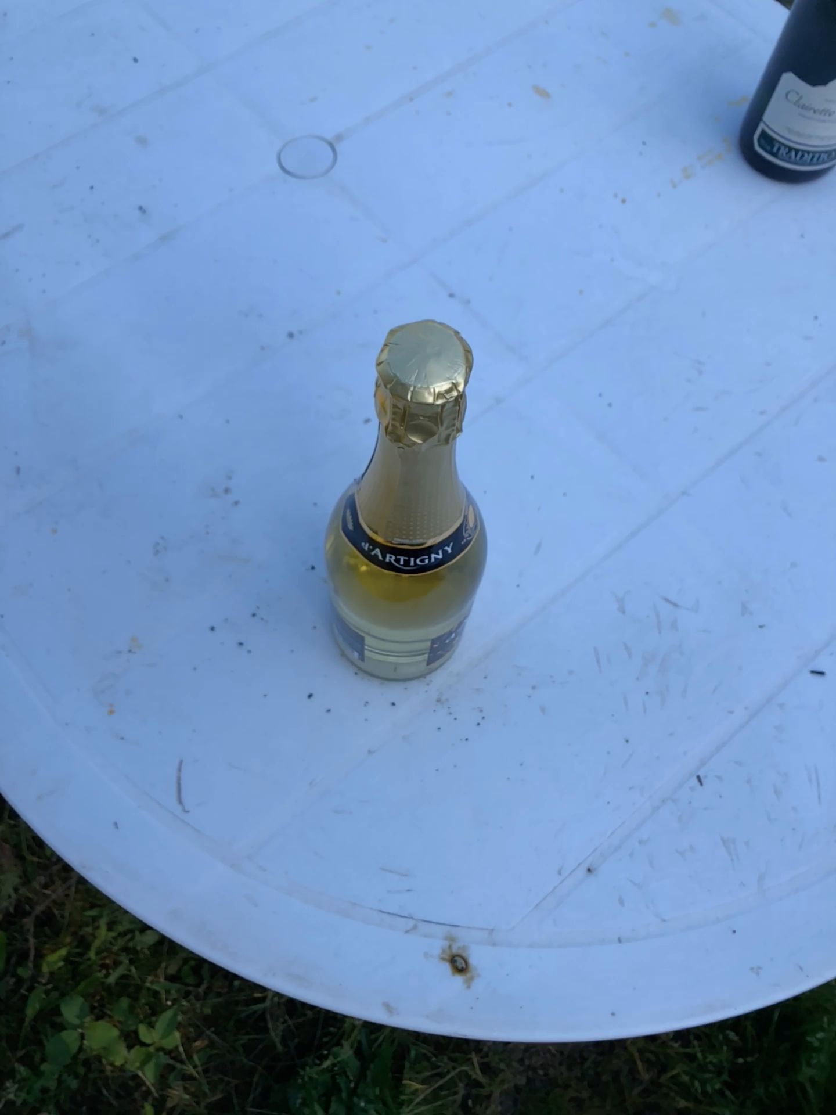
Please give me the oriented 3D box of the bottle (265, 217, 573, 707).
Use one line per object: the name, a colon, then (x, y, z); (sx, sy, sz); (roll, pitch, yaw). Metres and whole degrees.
bottle: (-0.005, -0.014, 0.442); (0.090, 0.299, 0.090); (1, 68, -3)
